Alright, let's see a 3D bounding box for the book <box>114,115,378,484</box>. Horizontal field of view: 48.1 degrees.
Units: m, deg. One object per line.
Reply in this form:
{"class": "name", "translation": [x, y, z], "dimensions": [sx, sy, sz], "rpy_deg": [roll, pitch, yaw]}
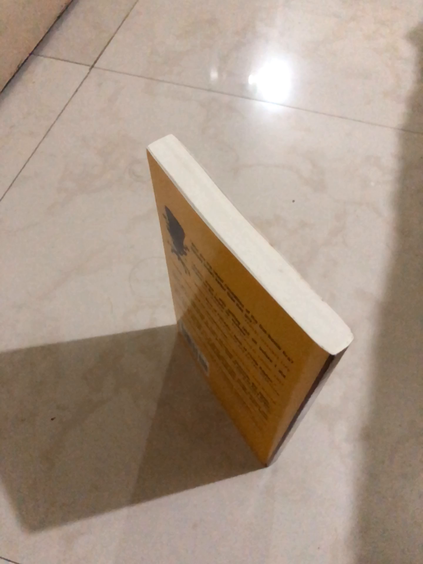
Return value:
{"class": "book", "translation": [0.005, 0.030, 0.267], "dimensions": [0.030, 0.200, 0.130], "rpy_deg": [-30, 63, -18]}
